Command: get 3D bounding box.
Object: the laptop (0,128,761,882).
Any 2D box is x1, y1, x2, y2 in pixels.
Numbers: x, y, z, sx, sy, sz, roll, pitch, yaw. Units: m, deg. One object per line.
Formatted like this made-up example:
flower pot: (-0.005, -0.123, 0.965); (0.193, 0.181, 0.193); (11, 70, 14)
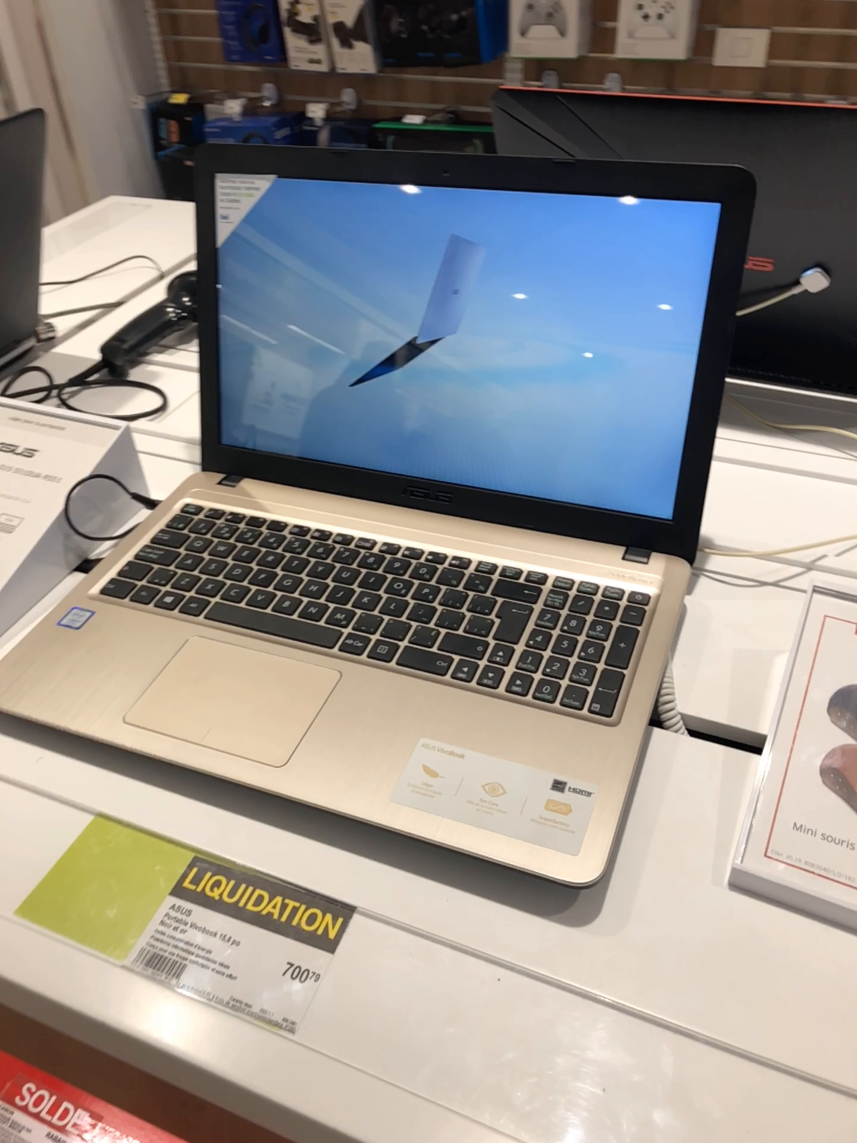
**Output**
laptop: (-0.035, -0.083, 0.554); (0.370, 0.204, 0.339); (12, 44, 19)
